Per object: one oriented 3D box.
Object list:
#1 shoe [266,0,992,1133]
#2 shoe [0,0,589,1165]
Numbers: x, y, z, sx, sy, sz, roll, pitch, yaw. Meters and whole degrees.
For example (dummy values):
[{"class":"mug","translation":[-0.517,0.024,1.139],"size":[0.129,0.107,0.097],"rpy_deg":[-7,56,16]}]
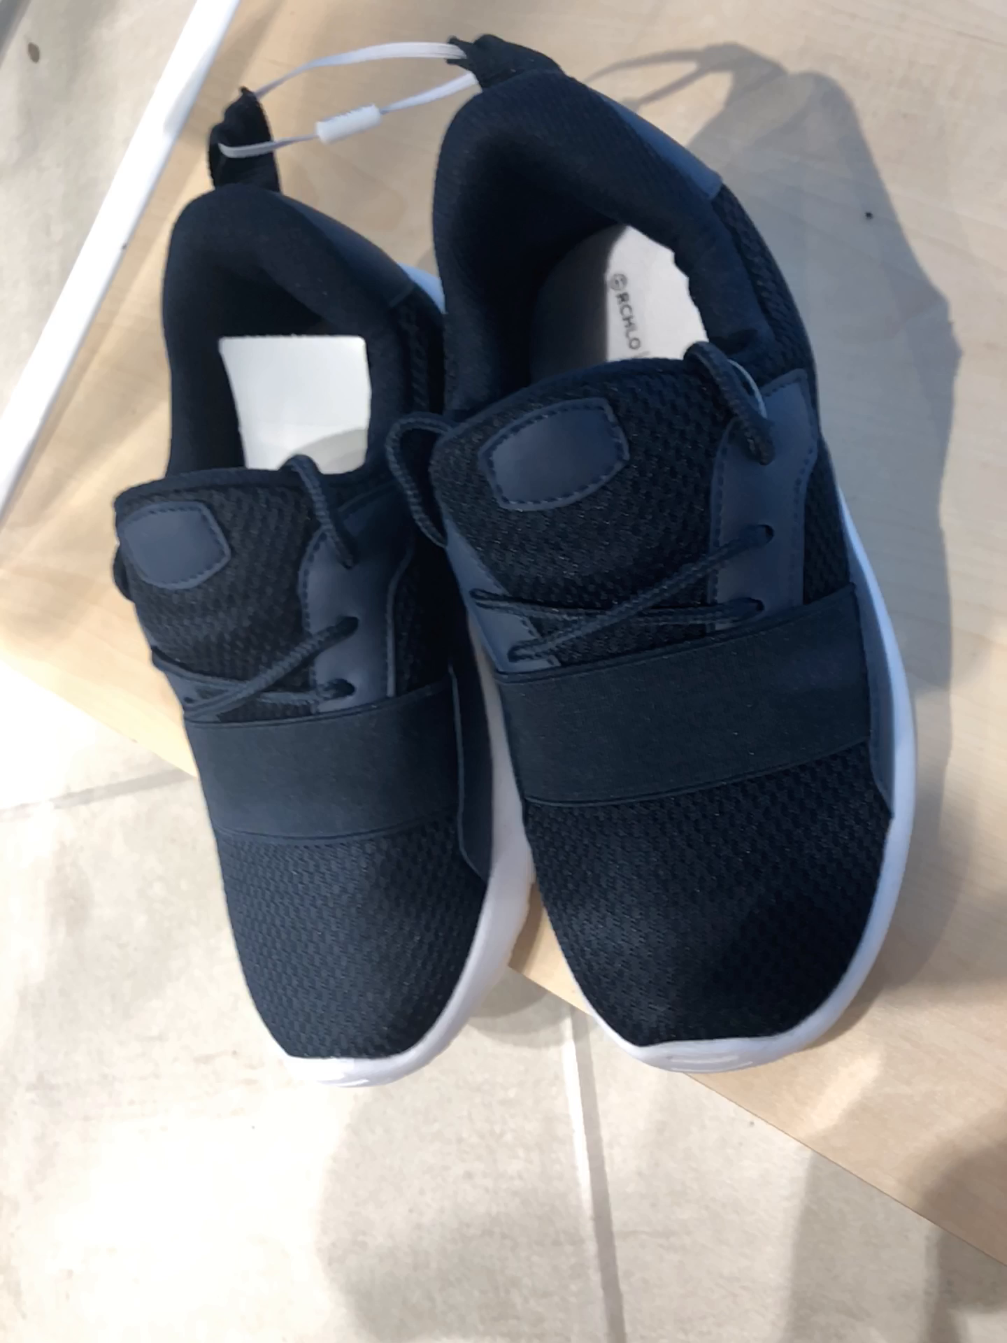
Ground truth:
[{"class":"shoe","translation":[0.025,-0.038,0.246],"size":[0.100,0.100,0.240],"rpy_deg":[-13,73,23]},{"class":"shoe","translation":[-0.040,-0.019,0.281],"size":[0.090,0.100,0.240],"rpy_deg":[-6,76,25]}]
